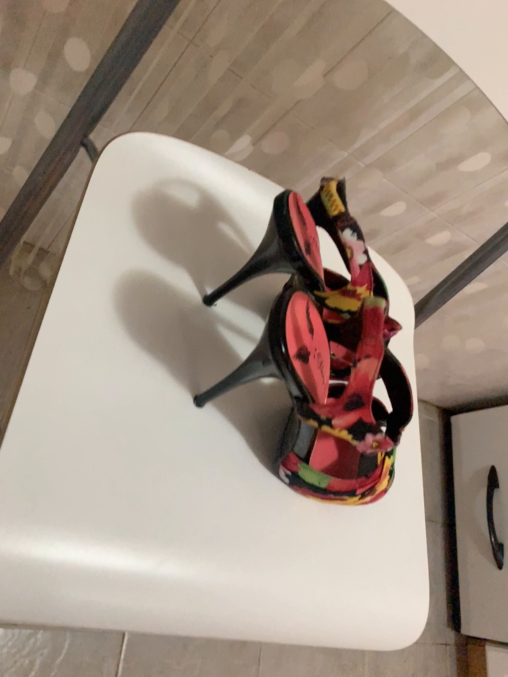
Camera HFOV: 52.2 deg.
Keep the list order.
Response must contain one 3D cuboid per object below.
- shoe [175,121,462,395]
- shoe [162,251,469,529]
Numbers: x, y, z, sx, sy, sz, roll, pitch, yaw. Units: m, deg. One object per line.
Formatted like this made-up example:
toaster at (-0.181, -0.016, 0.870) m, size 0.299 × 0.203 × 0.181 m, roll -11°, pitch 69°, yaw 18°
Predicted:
shoe at (0.057, -0.032, 0.348) m, size 0.205 × 0.085 × 0.080 m, roll 27°, pitch 58°, yaw -44°
shoe at (0.055, 0.048, 0.310) m, size 0.205 × 0.073 × 0.083 m, roll 36°, pitch 54°, yaw -40°
